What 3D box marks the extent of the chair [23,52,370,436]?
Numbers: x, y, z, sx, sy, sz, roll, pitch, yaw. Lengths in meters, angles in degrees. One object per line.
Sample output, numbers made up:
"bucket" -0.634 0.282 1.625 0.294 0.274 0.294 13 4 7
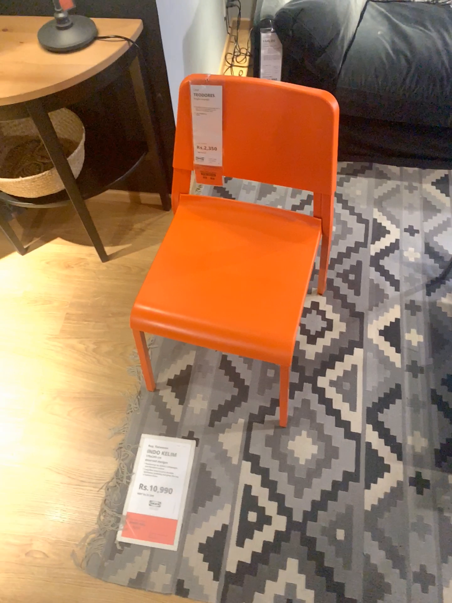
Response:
"chair" -0.005 -0.090 1.165 0.510 0.738 0.541 12 60 10
